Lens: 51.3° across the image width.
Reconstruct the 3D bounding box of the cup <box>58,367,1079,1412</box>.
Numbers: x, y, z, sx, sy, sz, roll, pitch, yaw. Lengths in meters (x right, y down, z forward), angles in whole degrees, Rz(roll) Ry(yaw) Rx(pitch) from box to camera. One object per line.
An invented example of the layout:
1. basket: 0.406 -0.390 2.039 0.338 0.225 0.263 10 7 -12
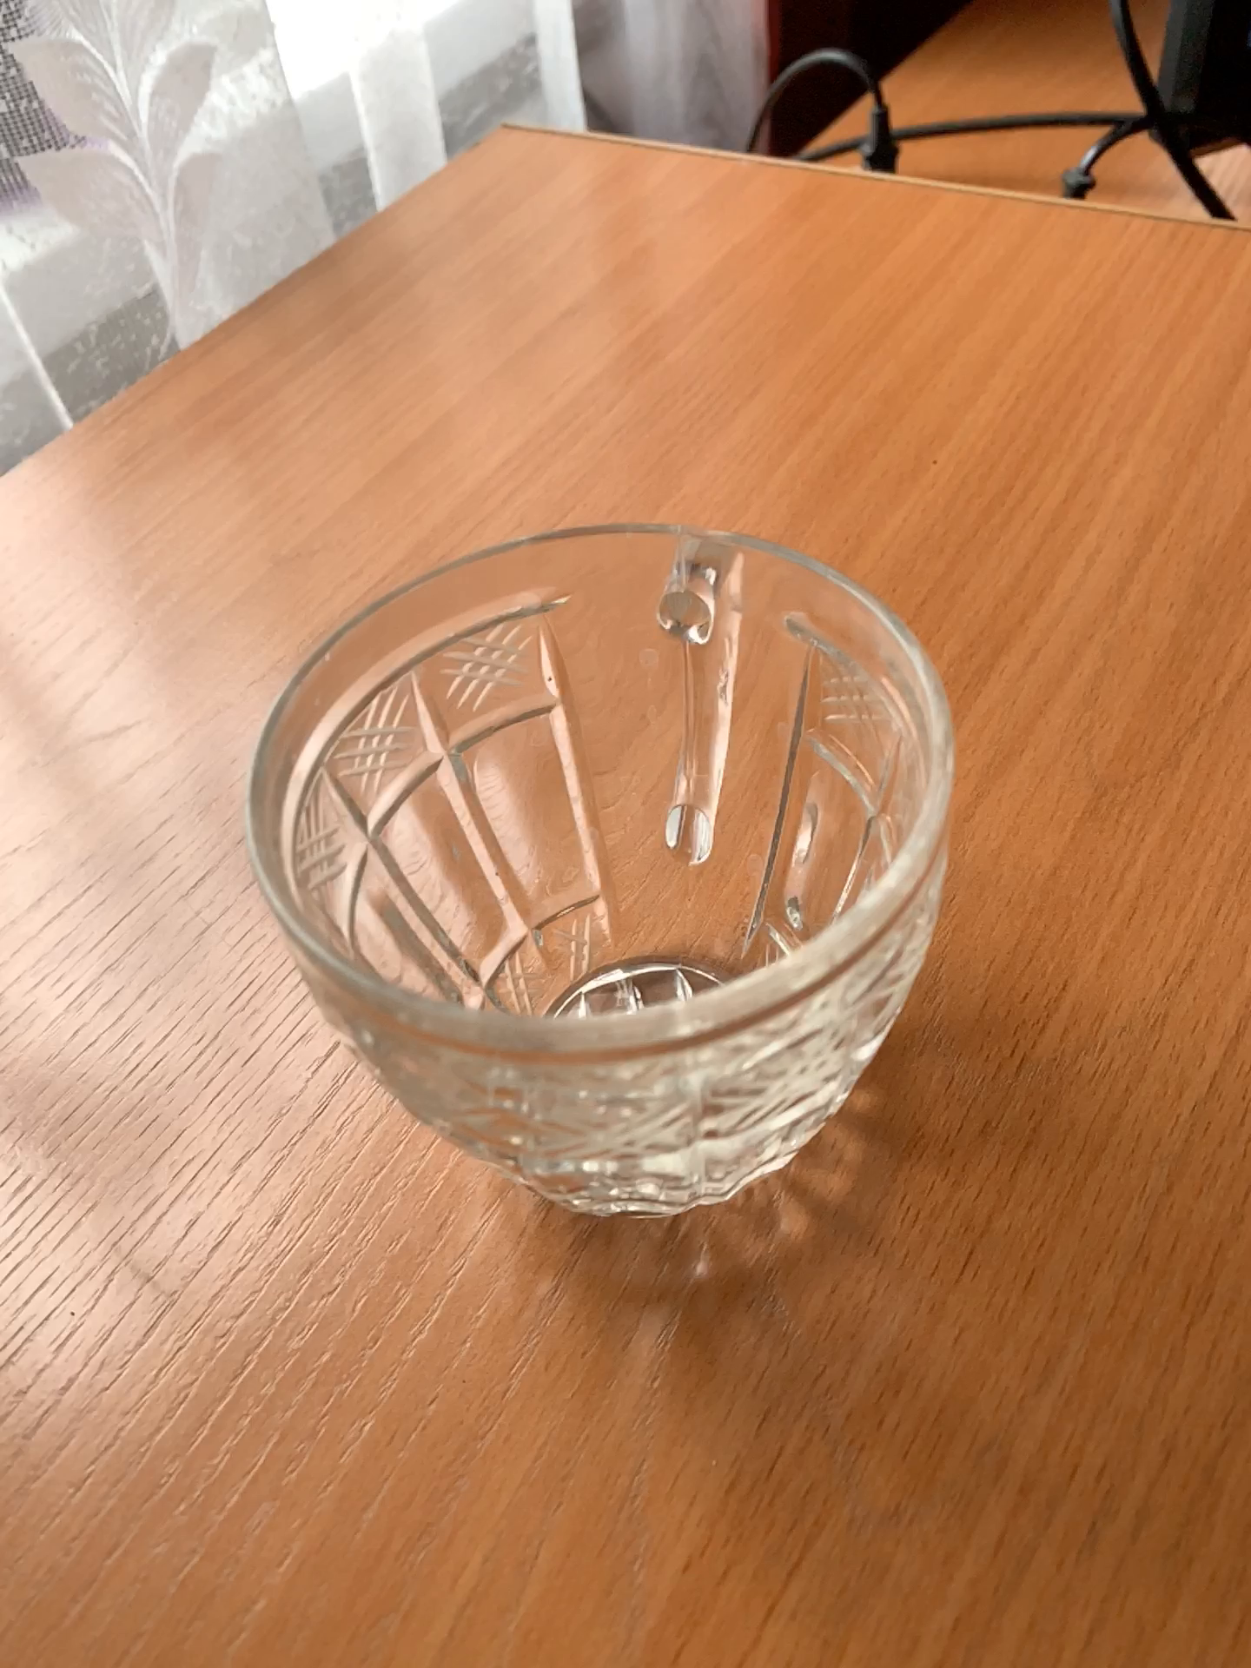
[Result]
1. cup: 0.003 0.001 0.170 0.082 0.066 0.101 14 53 16
